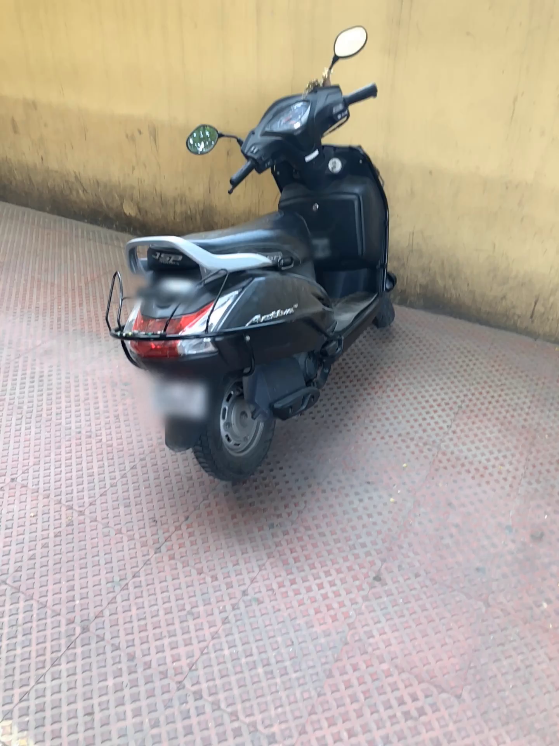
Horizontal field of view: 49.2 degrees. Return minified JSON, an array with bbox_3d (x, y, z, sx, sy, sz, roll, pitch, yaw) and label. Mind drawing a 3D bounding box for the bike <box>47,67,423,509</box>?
[{"bbox_3d":[0.002,-0.481,2.294,0.593,1.044,1.592,14,34,19],"label":"bike"}]
